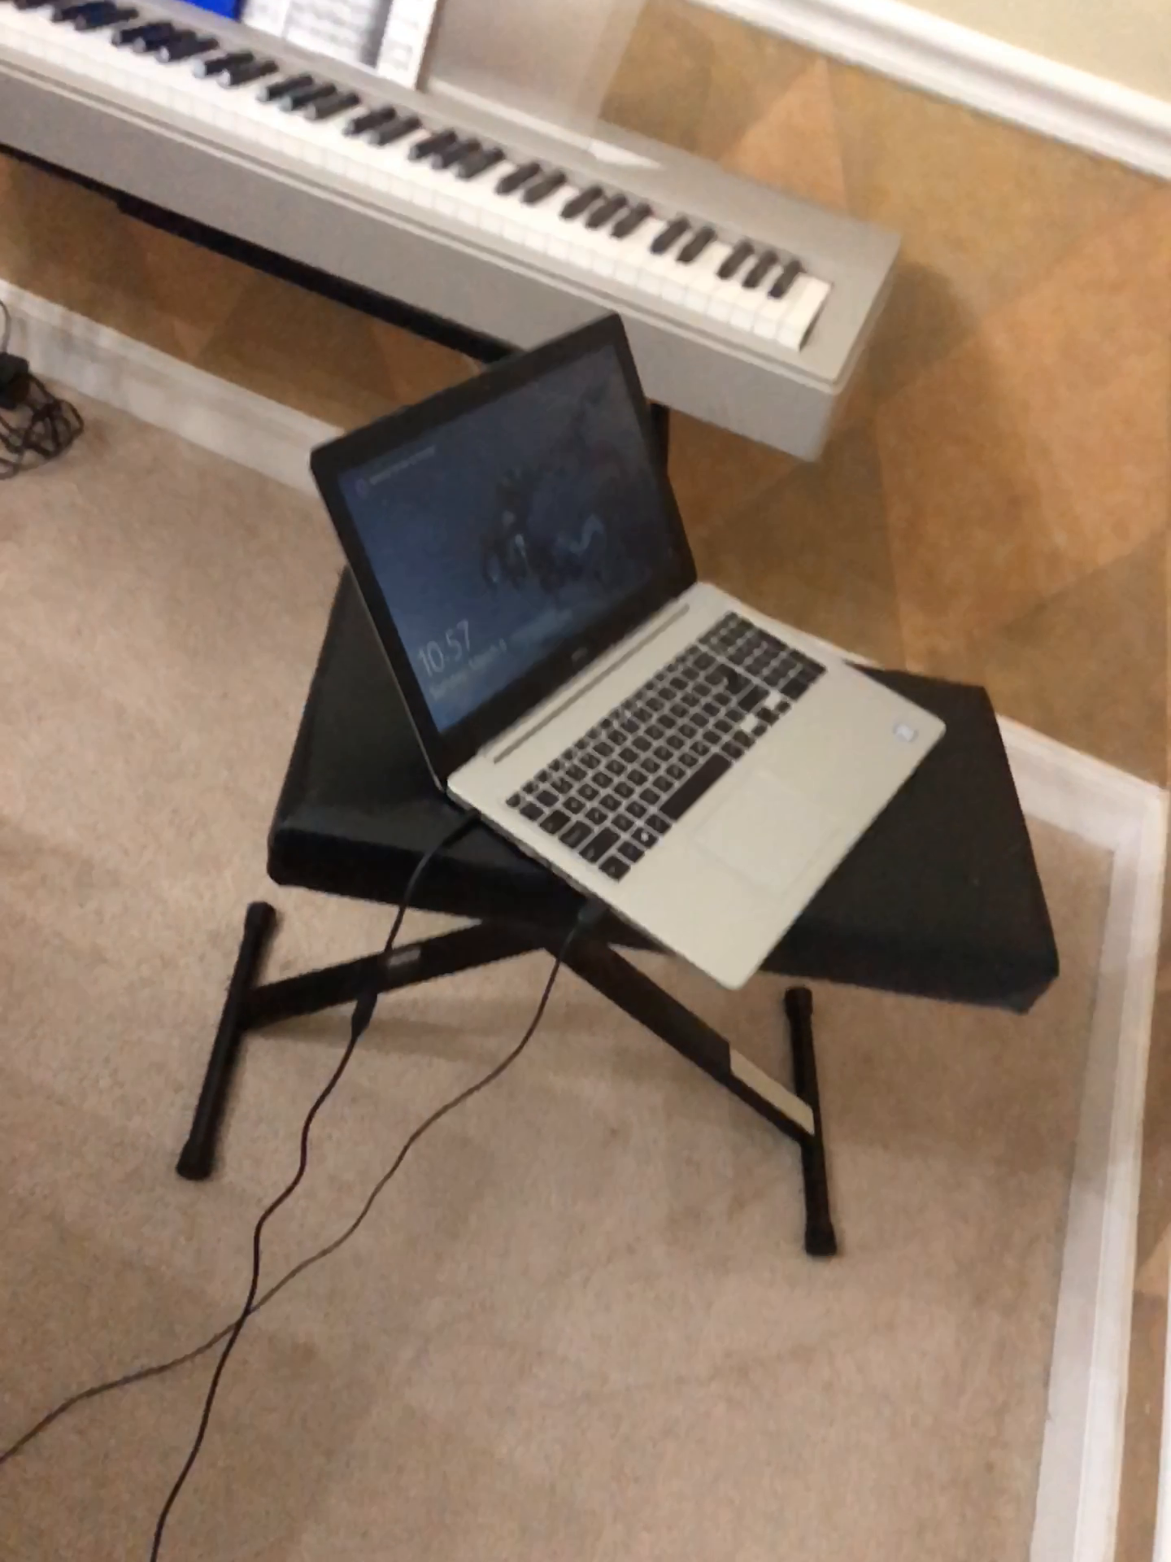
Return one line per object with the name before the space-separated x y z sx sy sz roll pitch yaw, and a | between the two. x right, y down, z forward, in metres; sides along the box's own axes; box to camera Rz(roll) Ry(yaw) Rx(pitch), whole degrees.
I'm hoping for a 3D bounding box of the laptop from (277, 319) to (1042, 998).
laptop | 0.058 -0.122 0.960 0.408 0.183 0.376 34 46 15
